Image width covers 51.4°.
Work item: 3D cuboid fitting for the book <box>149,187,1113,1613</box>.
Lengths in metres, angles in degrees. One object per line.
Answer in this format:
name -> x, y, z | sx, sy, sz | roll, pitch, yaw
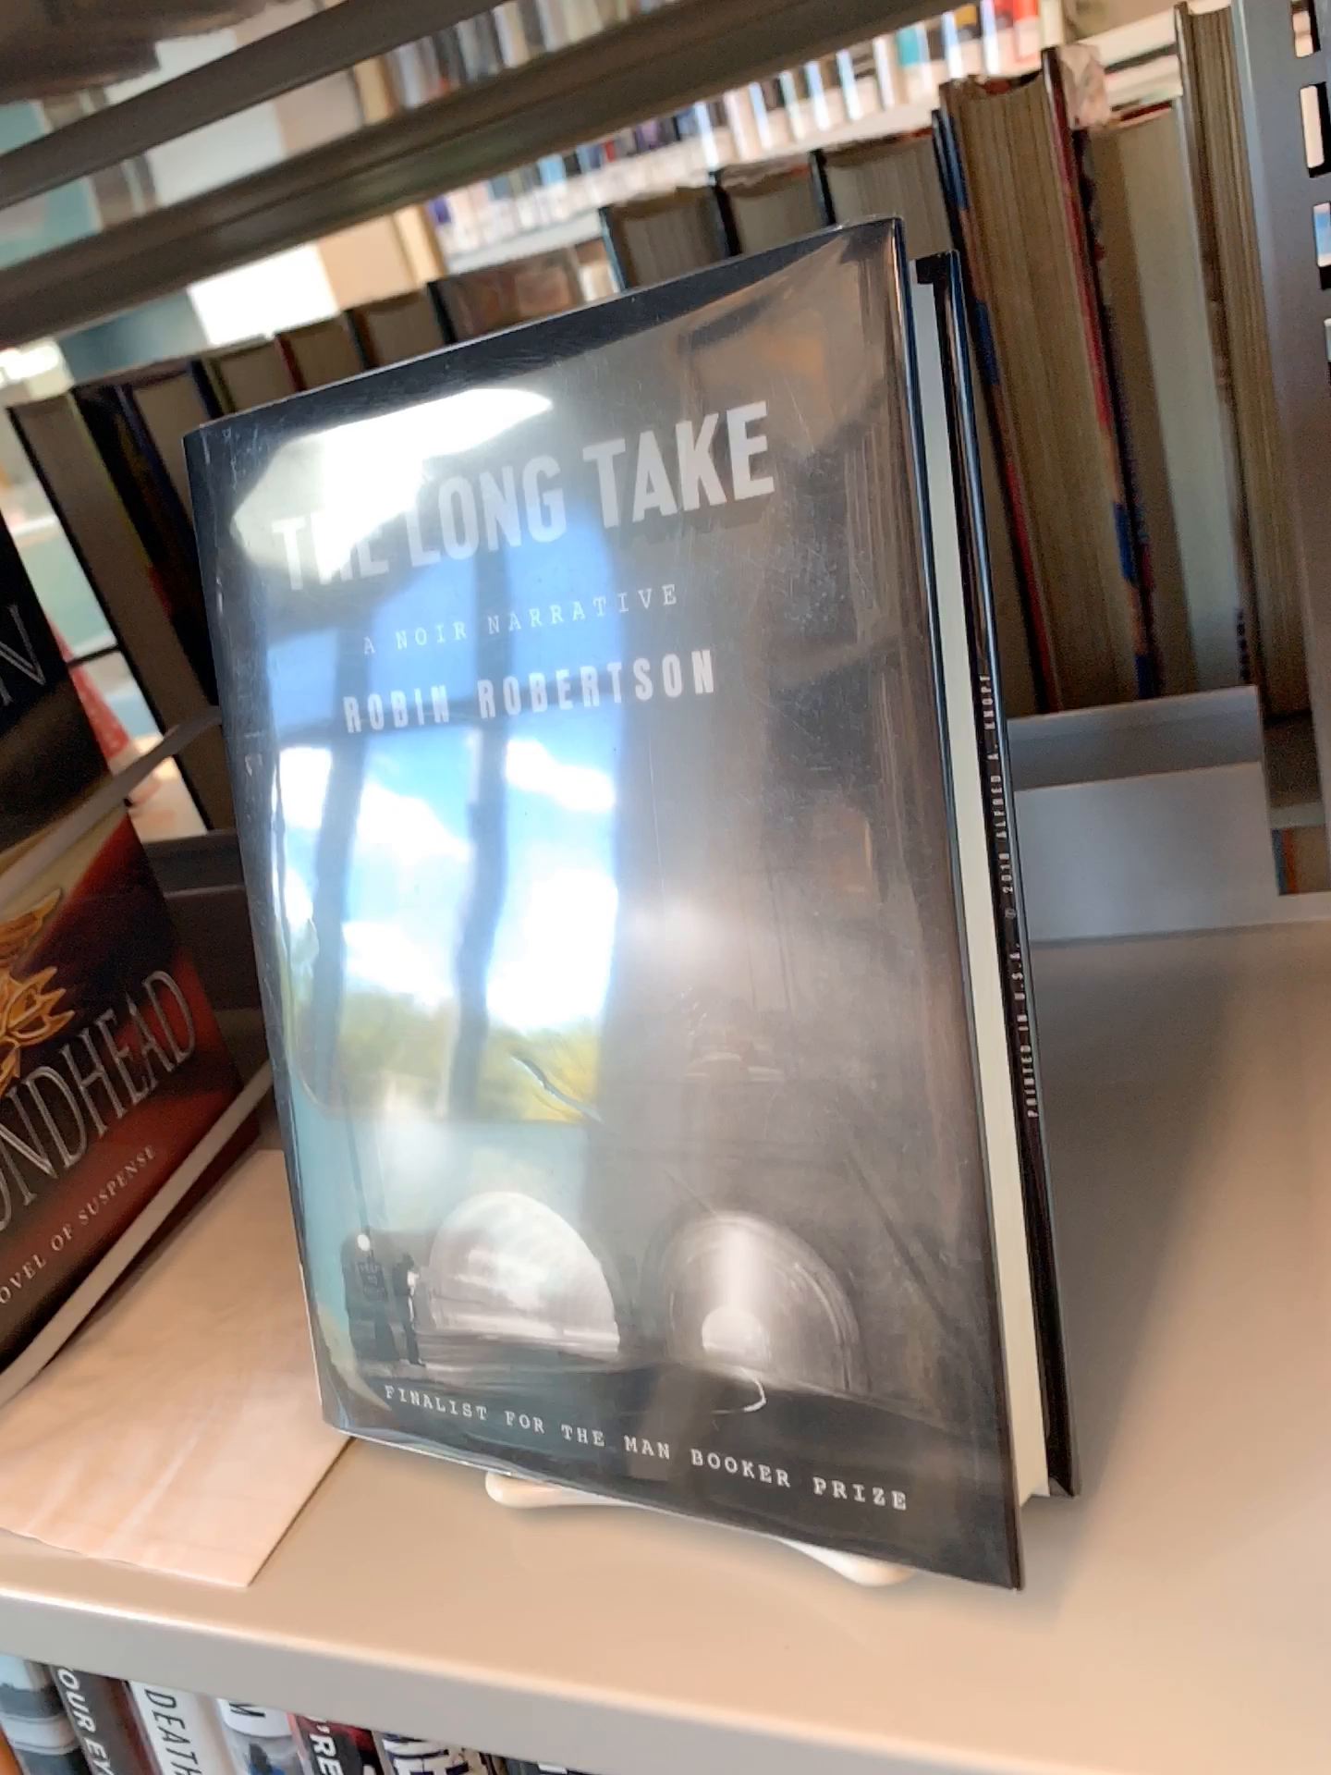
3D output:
book -> -0.012, 0.007, 0.257 | 0.160, 0.206, 0.040 | -3, 7, 32
